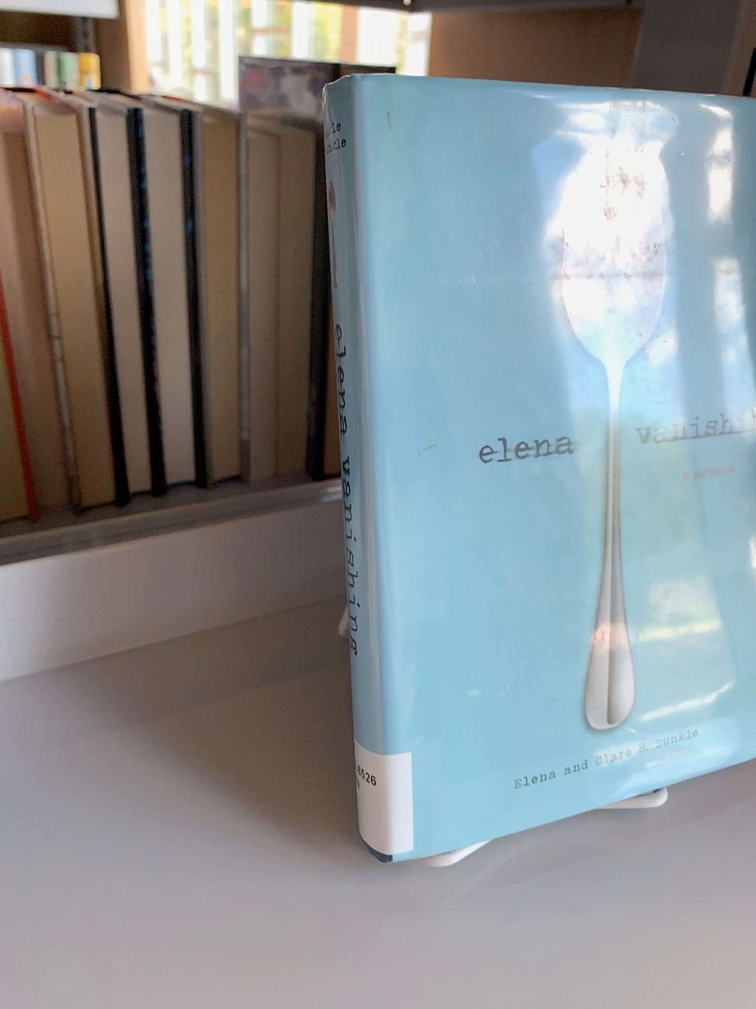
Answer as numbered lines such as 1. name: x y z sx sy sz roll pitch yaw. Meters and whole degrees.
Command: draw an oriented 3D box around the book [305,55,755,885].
1. book: 0.066 -0.010 0.234 0.159 0.203 0.035 -7 13 -20
